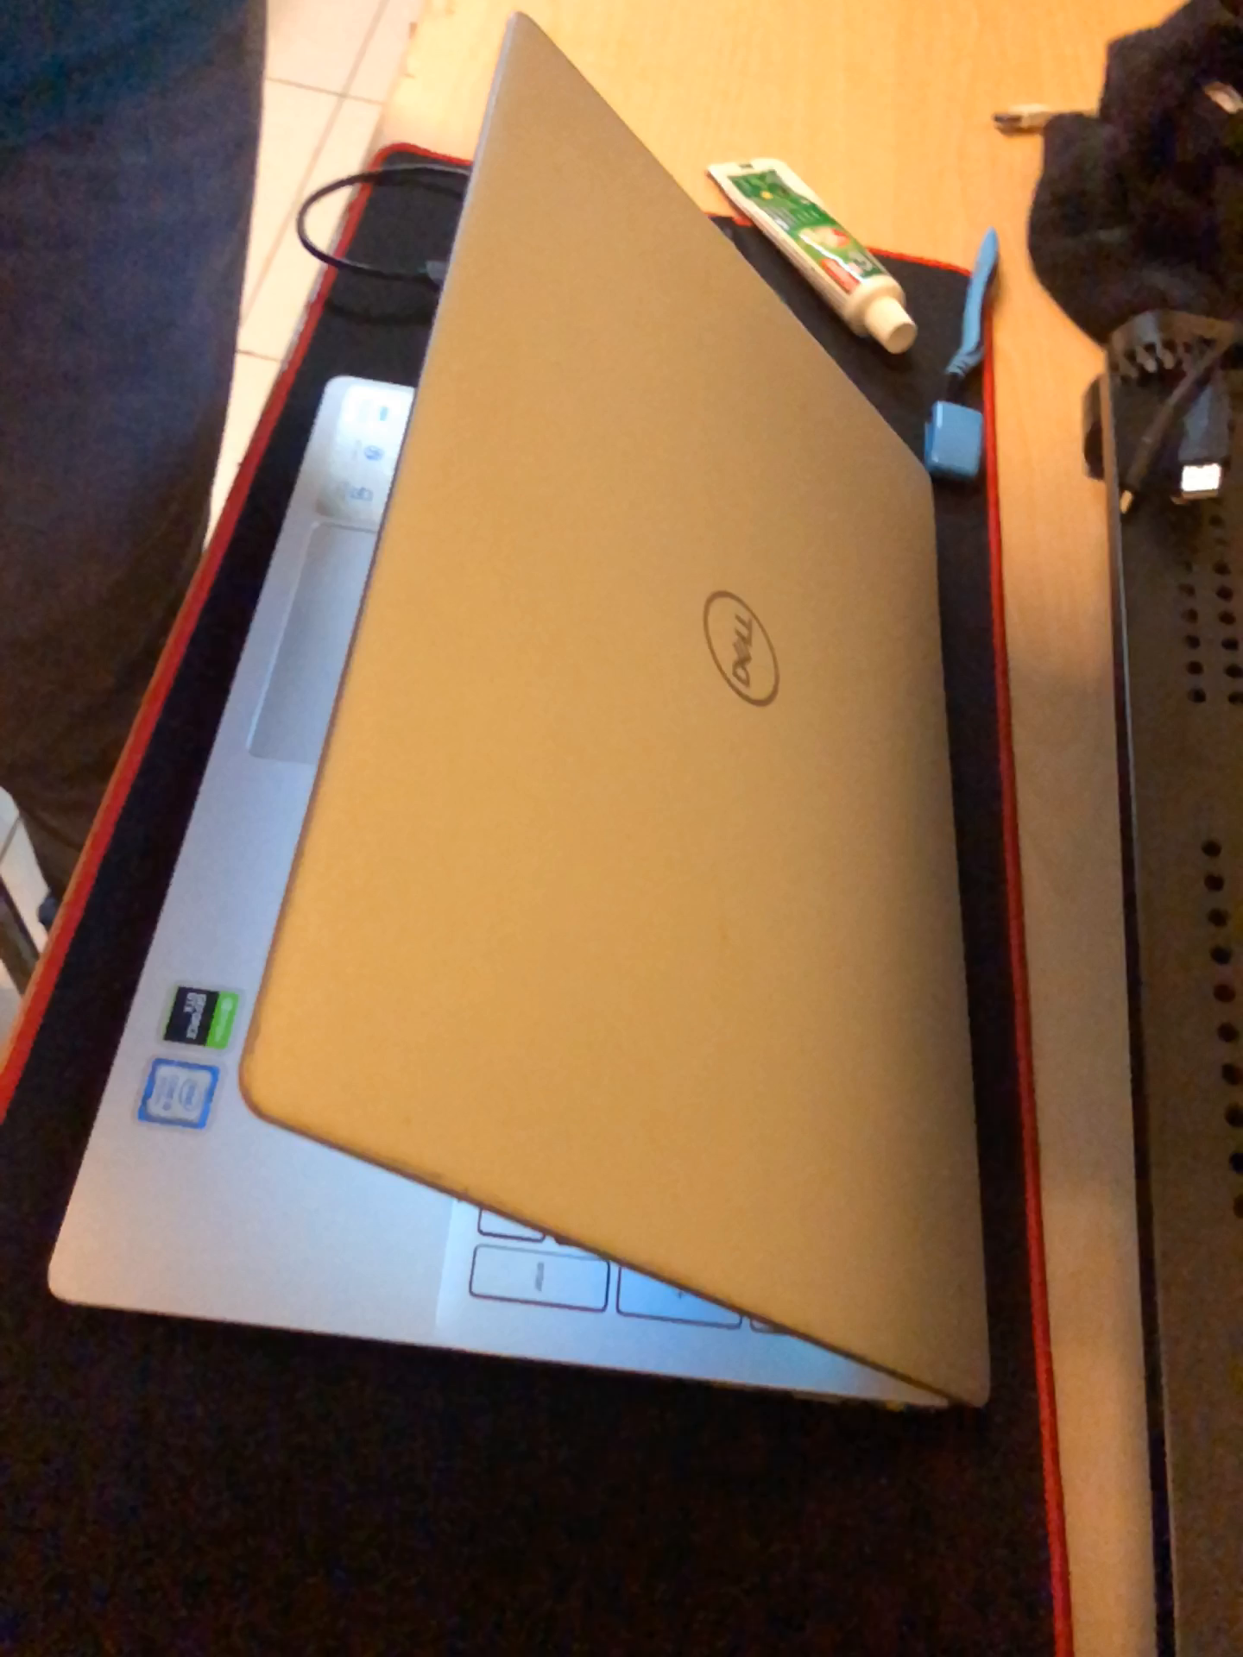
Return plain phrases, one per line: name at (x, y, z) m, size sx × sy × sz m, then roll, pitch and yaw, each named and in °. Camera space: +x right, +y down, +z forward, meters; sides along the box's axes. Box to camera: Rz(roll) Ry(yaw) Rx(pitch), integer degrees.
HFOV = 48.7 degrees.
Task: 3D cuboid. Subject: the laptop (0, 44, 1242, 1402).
laptop at (0.008, -0.050, 0.388) m, size 0.218 × 0.140 × 0.352 m, roll 8°, pitch 55°, yaw -3°
